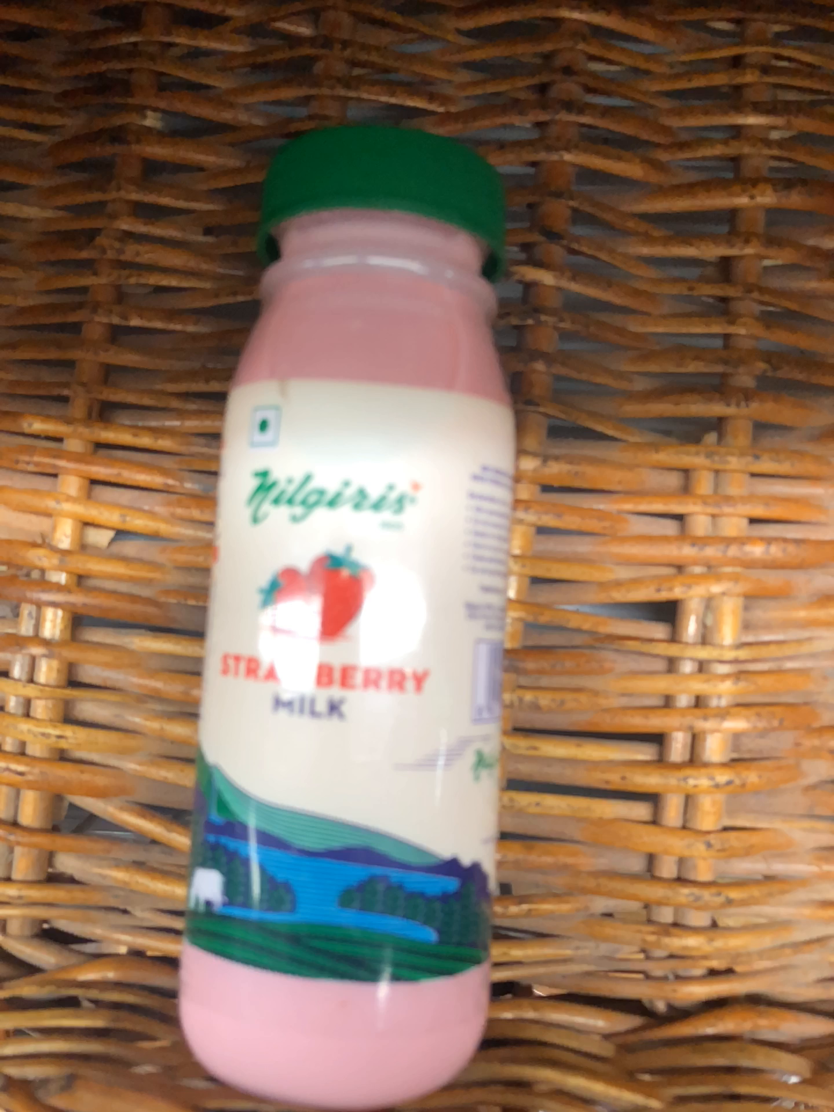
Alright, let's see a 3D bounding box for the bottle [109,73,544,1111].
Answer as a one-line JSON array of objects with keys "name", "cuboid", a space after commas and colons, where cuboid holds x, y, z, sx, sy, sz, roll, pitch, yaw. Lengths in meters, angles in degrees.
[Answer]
[{"name": "bottle", "cuboid": [-0.011, 0.008, 0.148, 0.050, 0.040, 0.150, 3, 86, 3]}]
